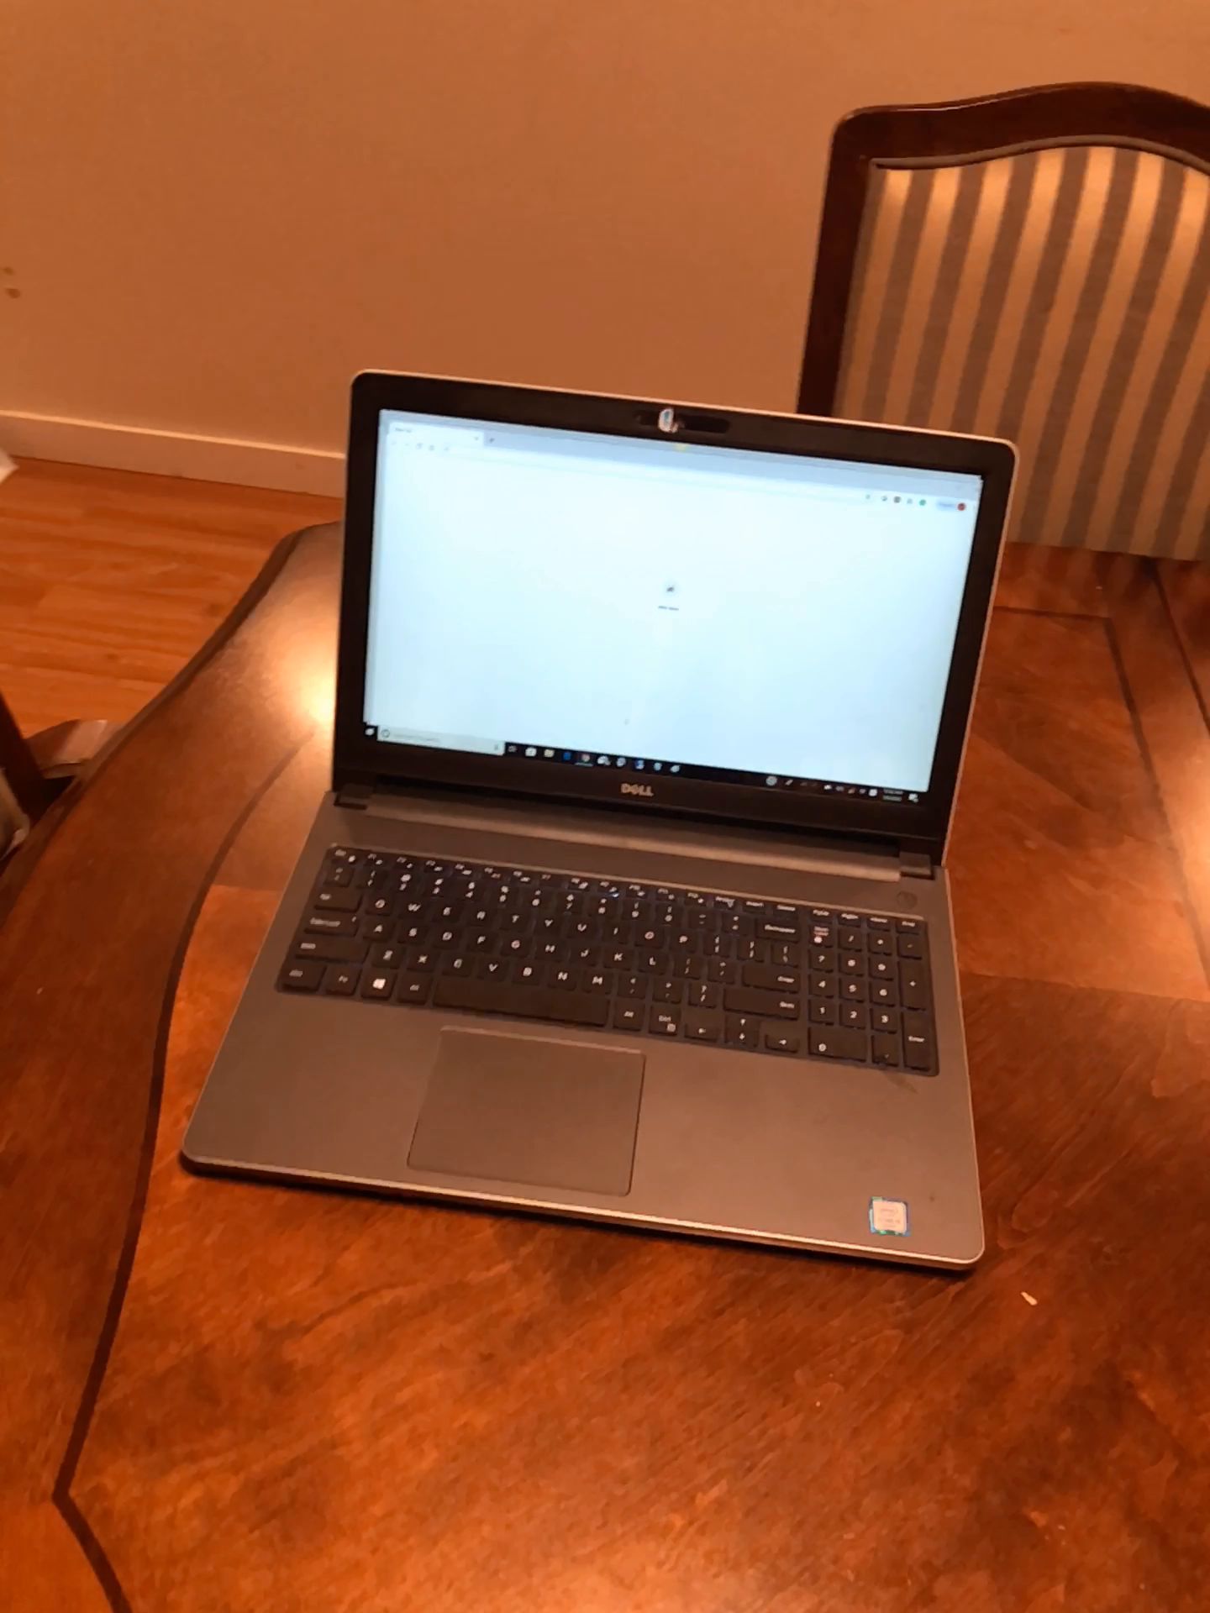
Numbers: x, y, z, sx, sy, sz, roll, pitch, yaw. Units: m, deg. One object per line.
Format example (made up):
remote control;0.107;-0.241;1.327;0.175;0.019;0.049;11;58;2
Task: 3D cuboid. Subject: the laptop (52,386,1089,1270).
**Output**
laptop;0.000;-0.013;0.670;0.369;0.212;0.362;7;43;3
